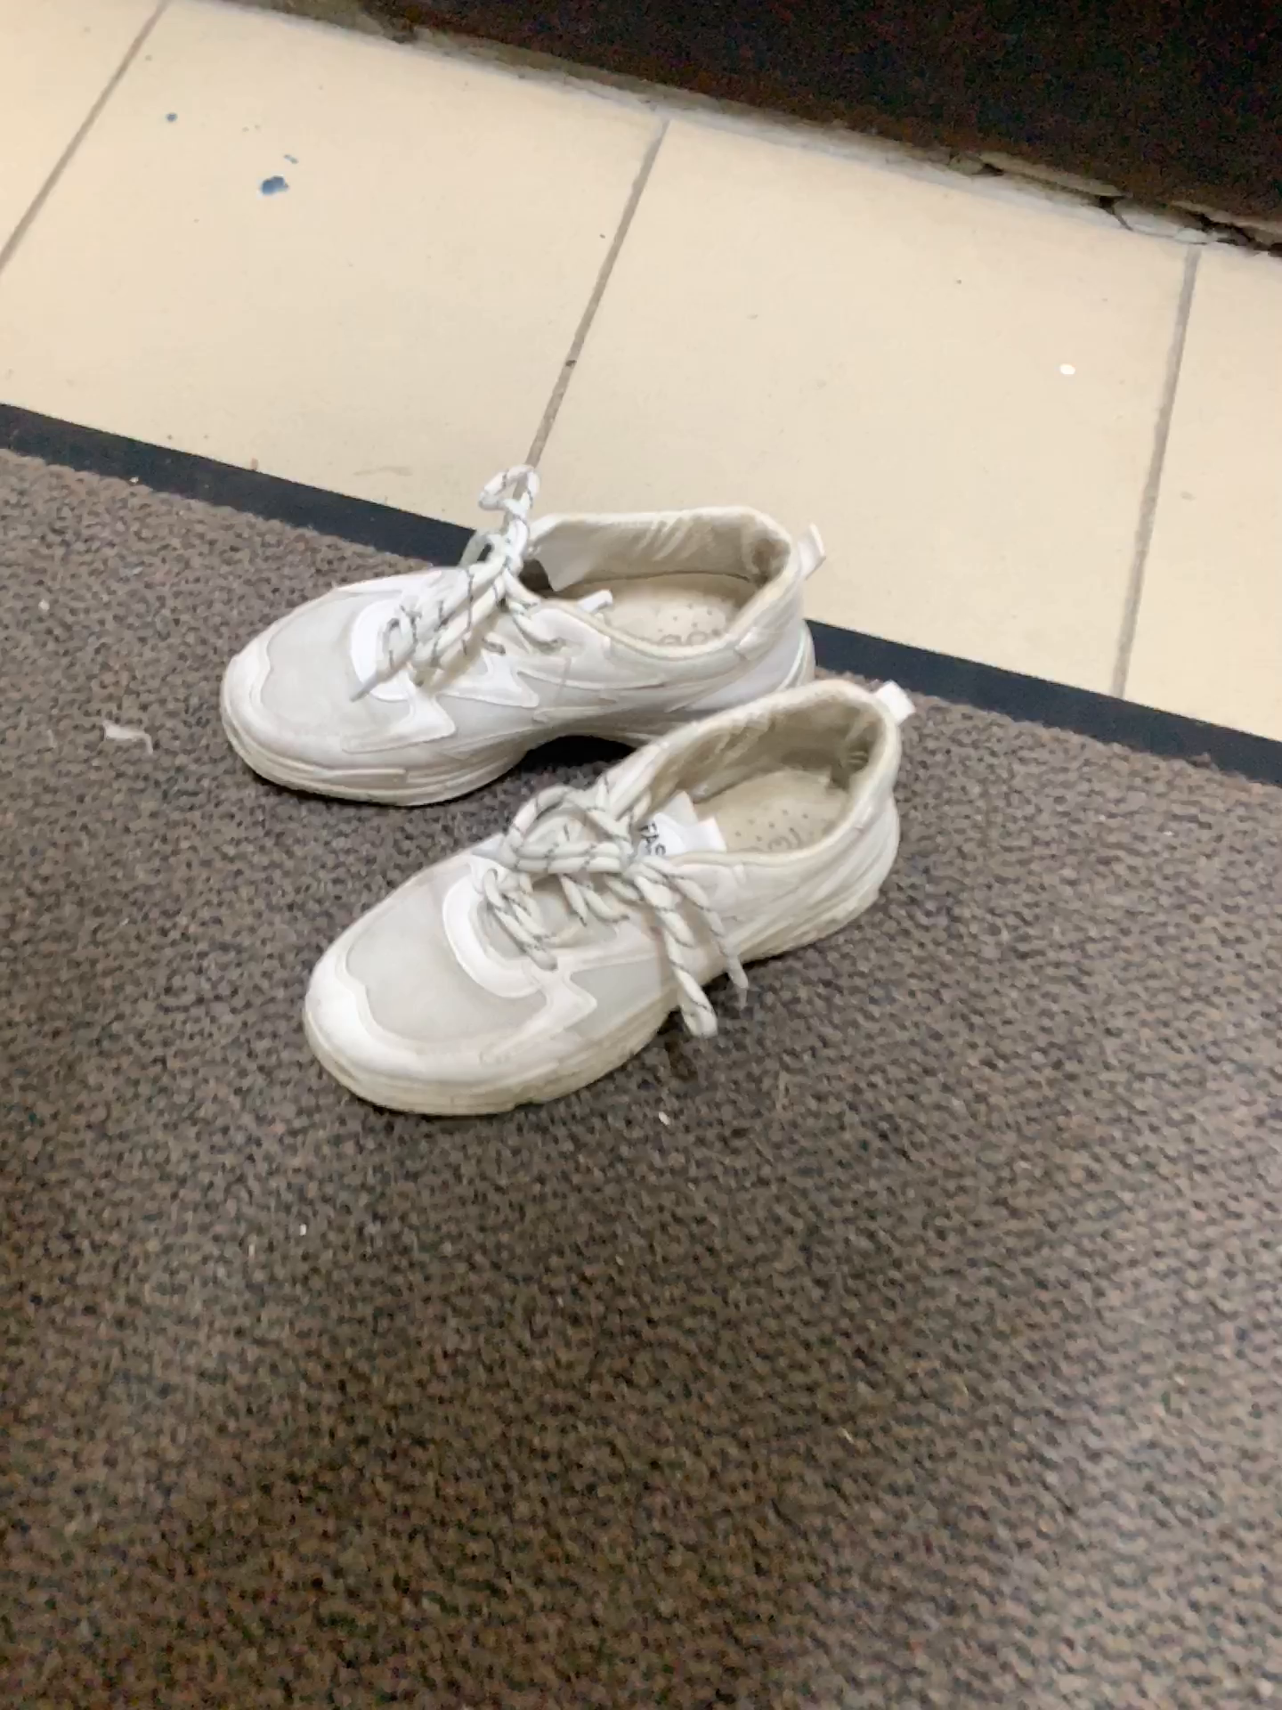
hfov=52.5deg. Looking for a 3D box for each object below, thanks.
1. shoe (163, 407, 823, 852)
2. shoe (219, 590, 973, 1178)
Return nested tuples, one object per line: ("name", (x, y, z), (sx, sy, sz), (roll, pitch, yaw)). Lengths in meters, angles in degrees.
("shoe", (-0.059, -0.087, 0.537), (0.230, 0.140, 0.100), (-7, 67, -6))
("shoe", (-0.016, 0.016, 0.496), (0.230, 0.140, 0.100), (-23, 70, -12))
